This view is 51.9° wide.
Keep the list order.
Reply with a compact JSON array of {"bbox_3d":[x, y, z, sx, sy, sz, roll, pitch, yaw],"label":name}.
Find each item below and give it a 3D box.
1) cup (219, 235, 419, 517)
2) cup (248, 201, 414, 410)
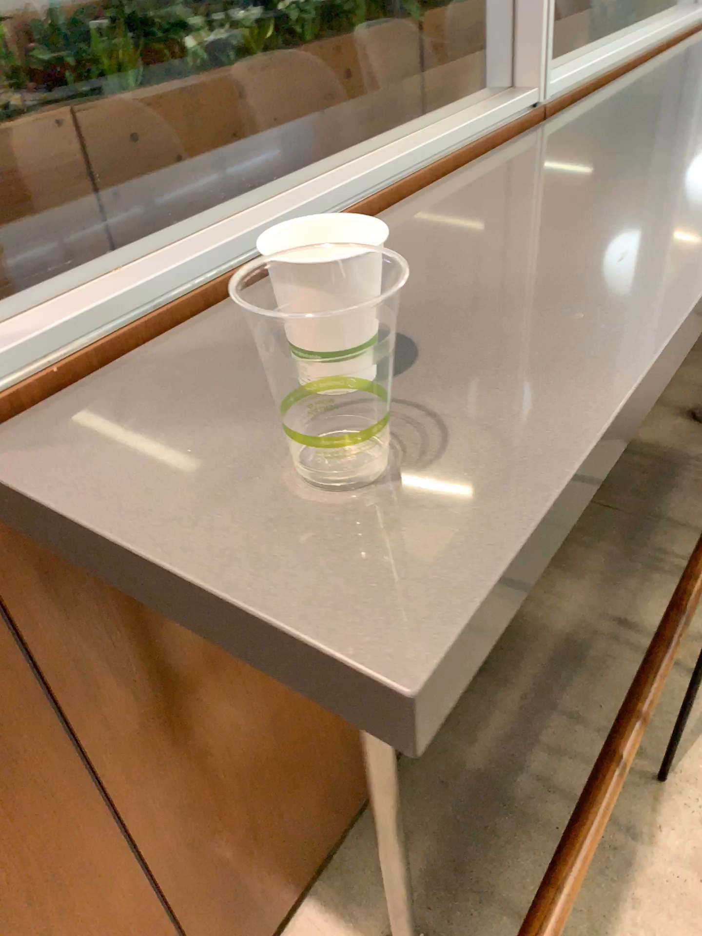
[{"bbox_3d":[-0.017,-0.053,0.412,0.090,0.119,0.091,-5,36,3],"label":"cup"},{"bbox_3d":[-0.013,-0.118,0.517,0.090,0.109,0.081,-14,36,-9],"label":"cup"}]
